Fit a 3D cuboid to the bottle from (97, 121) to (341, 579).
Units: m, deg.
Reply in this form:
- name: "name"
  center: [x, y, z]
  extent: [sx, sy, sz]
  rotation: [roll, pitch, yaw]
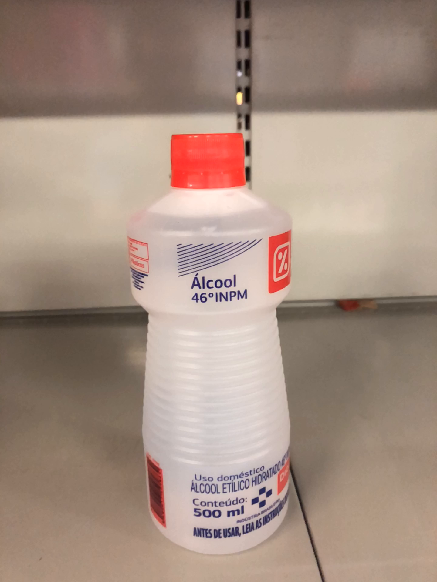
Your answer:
- name: "bottle"
  center: [-0.003, 0.019, 0.226]
  extent: [0.080, 0.179, 0.080]
  rotation: [-2, 17, 1]
